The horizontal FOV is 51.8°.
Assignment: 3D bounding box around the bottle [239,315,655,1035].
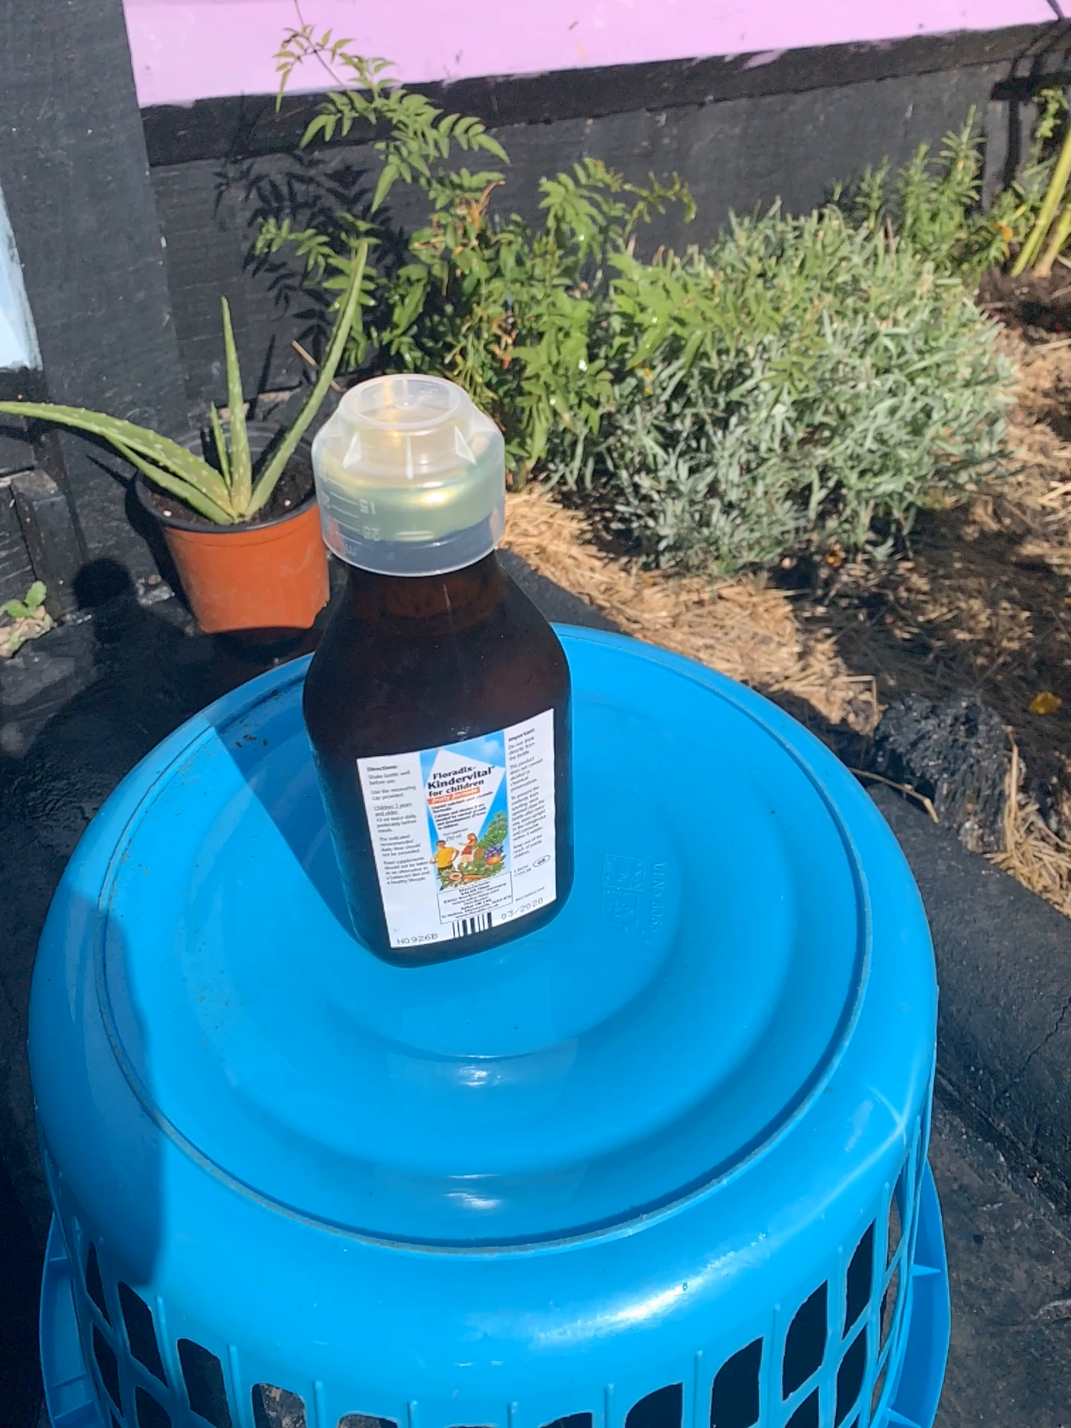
[{"bbox_3d":[-0.025,0.001,0.306,0.080,0.198,0.050,-12,43,-17],"label":"bottle"}]
